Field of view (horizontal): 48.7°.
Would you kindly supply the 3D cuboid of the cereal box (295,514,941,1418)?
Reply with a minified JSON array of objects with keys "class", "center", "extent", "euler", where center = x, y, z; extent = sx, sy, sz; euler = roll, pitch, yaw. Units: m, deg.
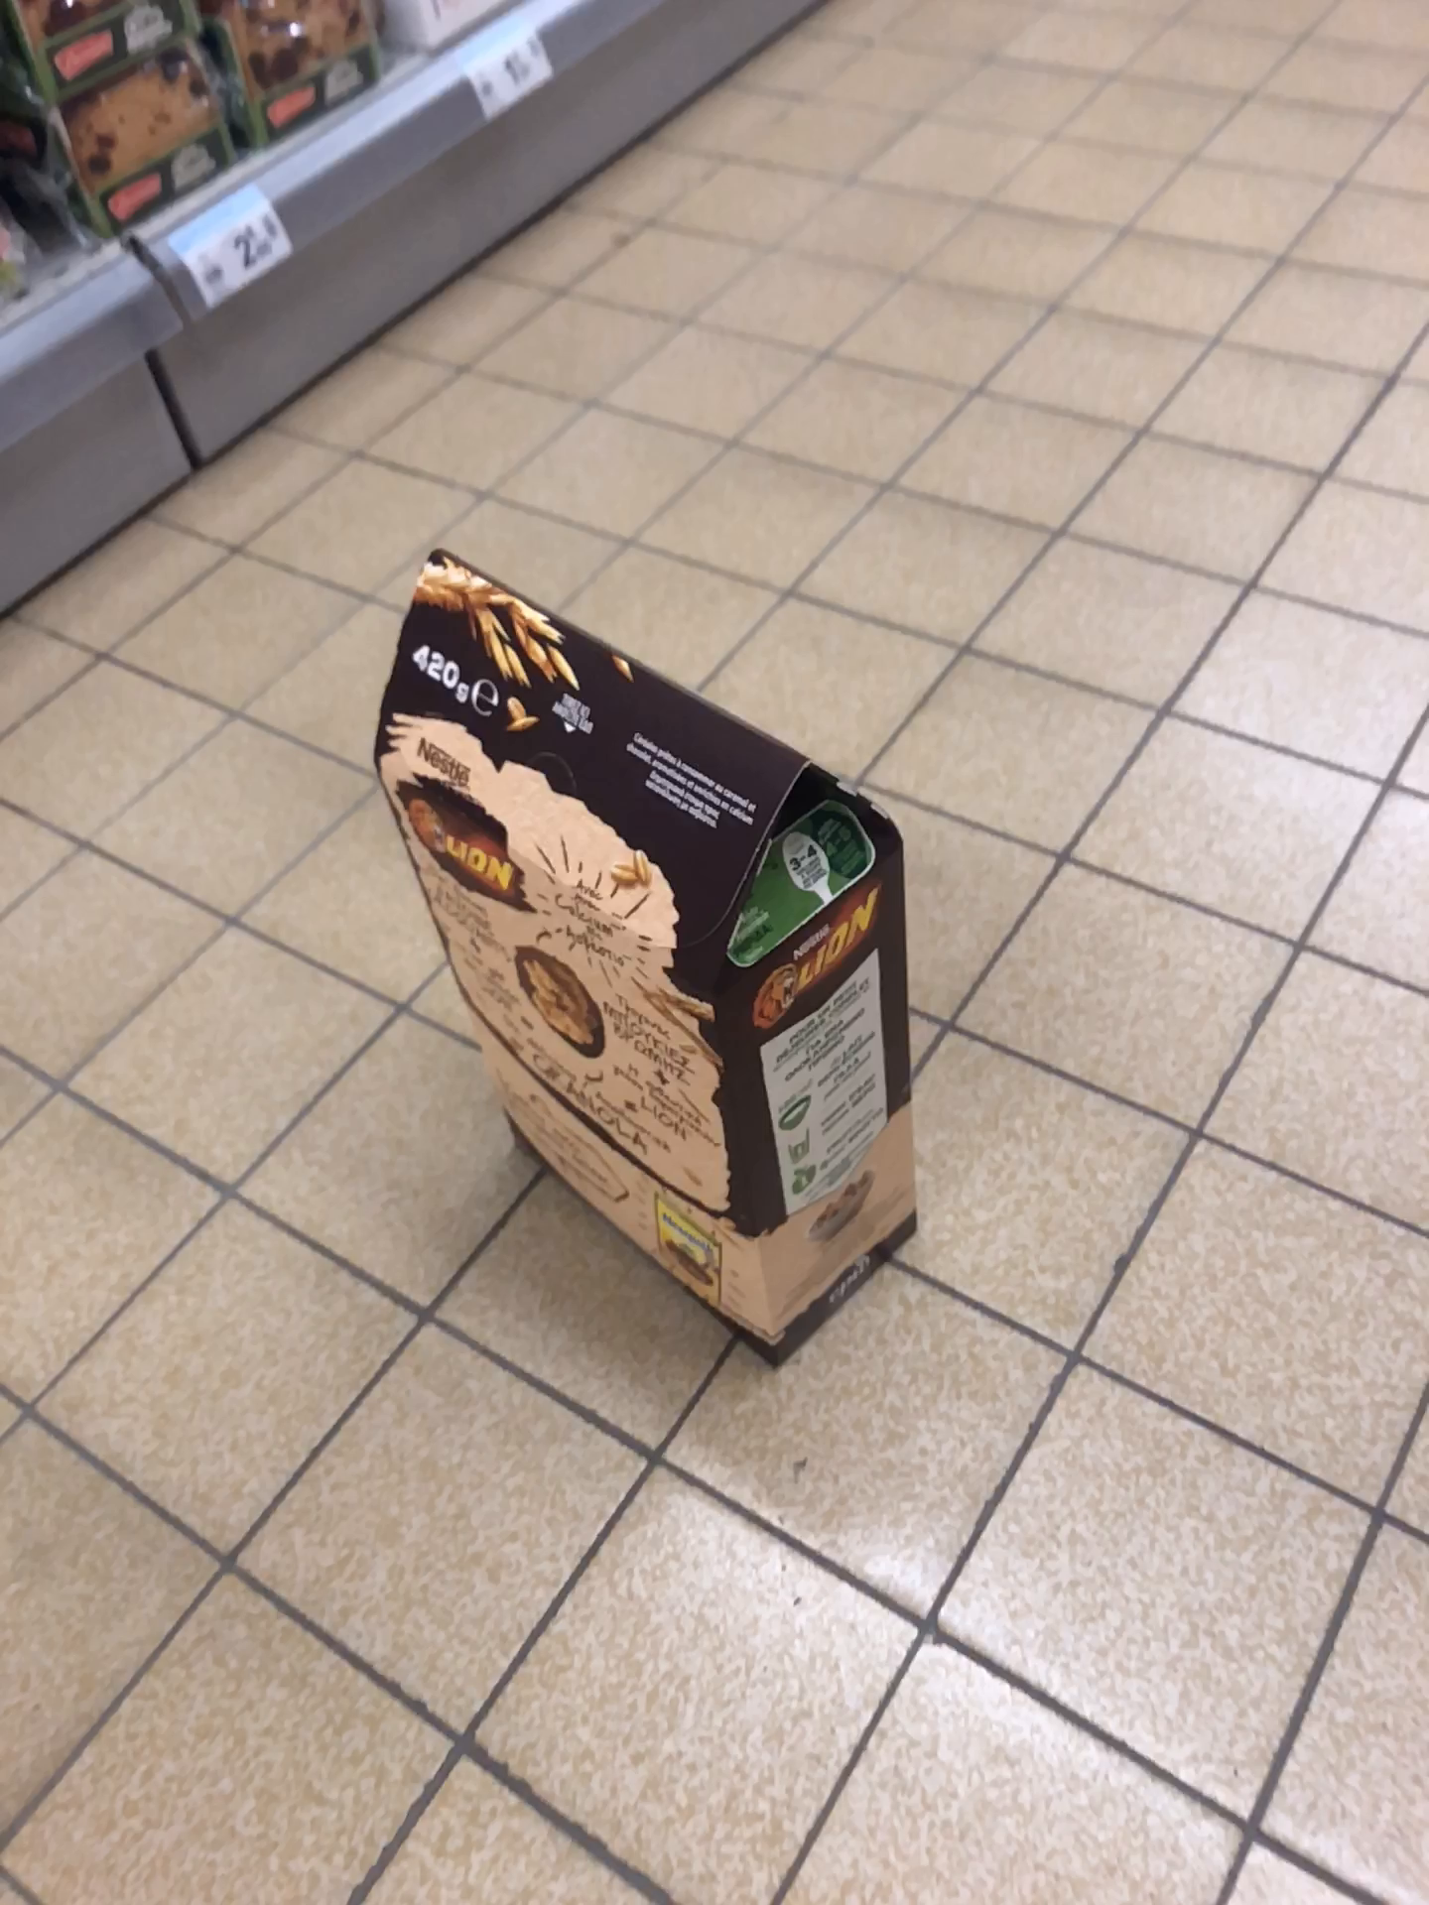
[{"class":"cereal box","center":[-0.015,0.015,0.488],"extent":[0.150,0.248,0.080],"euler":[34,62,31]}]
